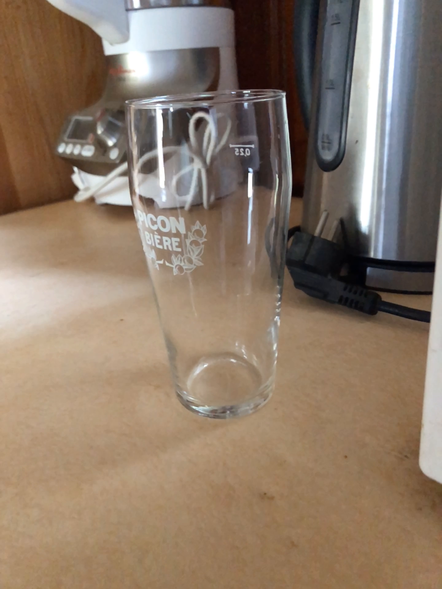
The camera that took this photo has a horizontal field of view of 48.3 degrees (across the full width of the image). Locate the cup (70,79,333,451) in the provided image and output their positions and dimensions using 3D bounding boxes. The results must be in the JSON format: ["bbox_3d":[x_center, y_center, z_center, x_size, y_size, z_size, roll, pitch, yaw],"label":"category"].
[{"bbox_3d":[-0.001,-0.018,0.211,0.070,0.129,0.070,-4,24,2],"label":"cup"}]
